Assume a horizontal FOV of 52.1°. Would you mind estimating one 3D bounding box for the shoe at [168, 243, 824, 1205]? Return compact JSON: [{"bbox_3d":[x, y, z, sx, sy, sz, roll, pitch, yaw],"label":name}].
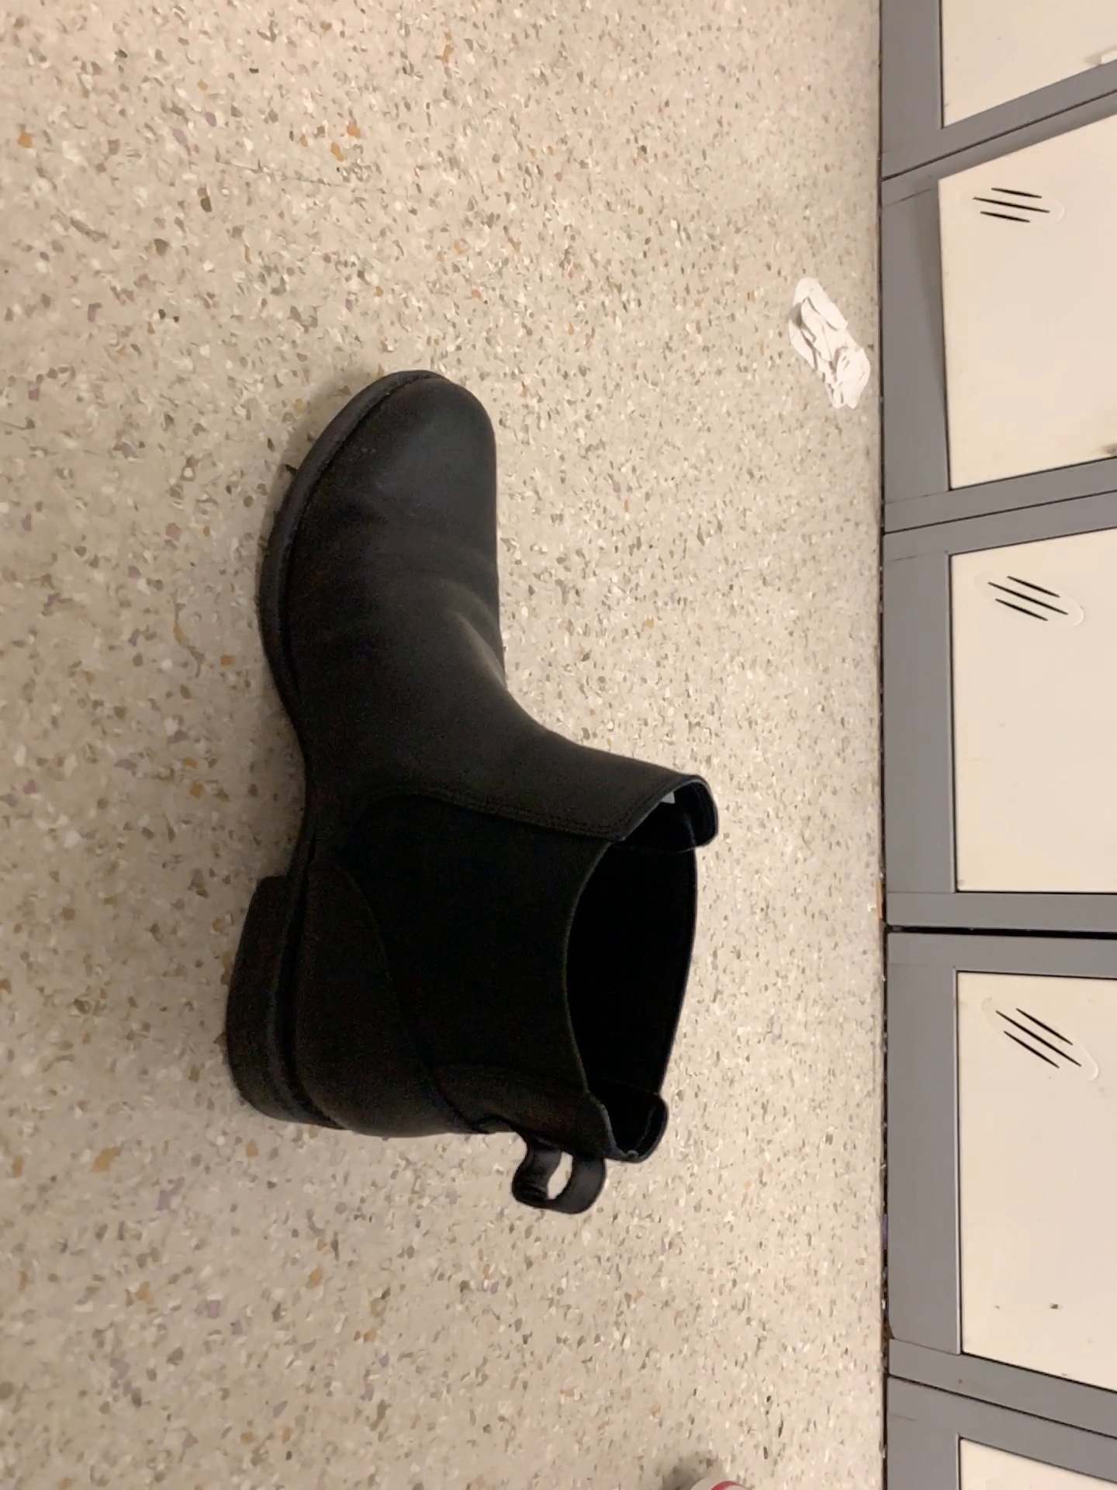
[{"bbox_3d":[-0.015,-0.001,0.390,0.108,0.163,0.262,23,69,-50],"label":"shoe"}]
